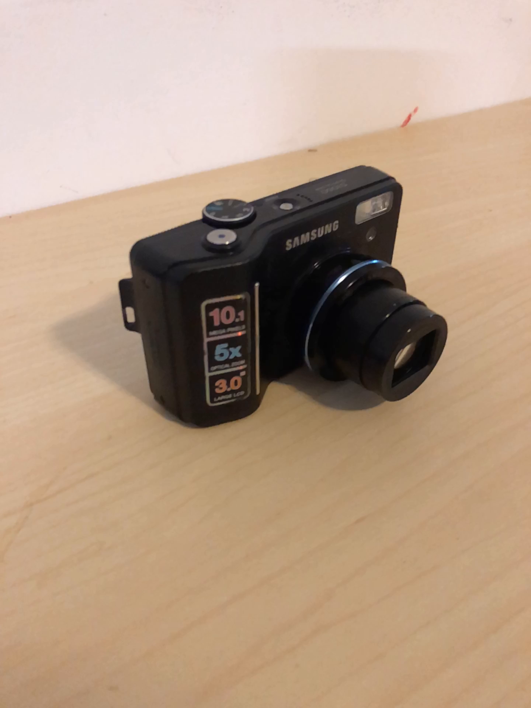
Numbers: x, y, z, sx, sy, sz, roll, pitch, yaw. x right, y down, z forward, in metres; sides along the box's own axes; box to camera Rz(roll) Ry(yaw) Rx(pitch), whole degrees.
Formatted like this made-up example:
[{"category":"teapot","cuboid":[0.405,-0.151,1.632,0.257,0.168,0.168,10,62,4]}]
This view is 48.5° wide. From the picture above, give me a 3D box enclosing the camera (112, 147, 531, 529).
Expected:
[{"category":"camera","cuboid":[0.019,-0.014,0.202,0.110,0.070,0.070,-26,47,-29]}]
